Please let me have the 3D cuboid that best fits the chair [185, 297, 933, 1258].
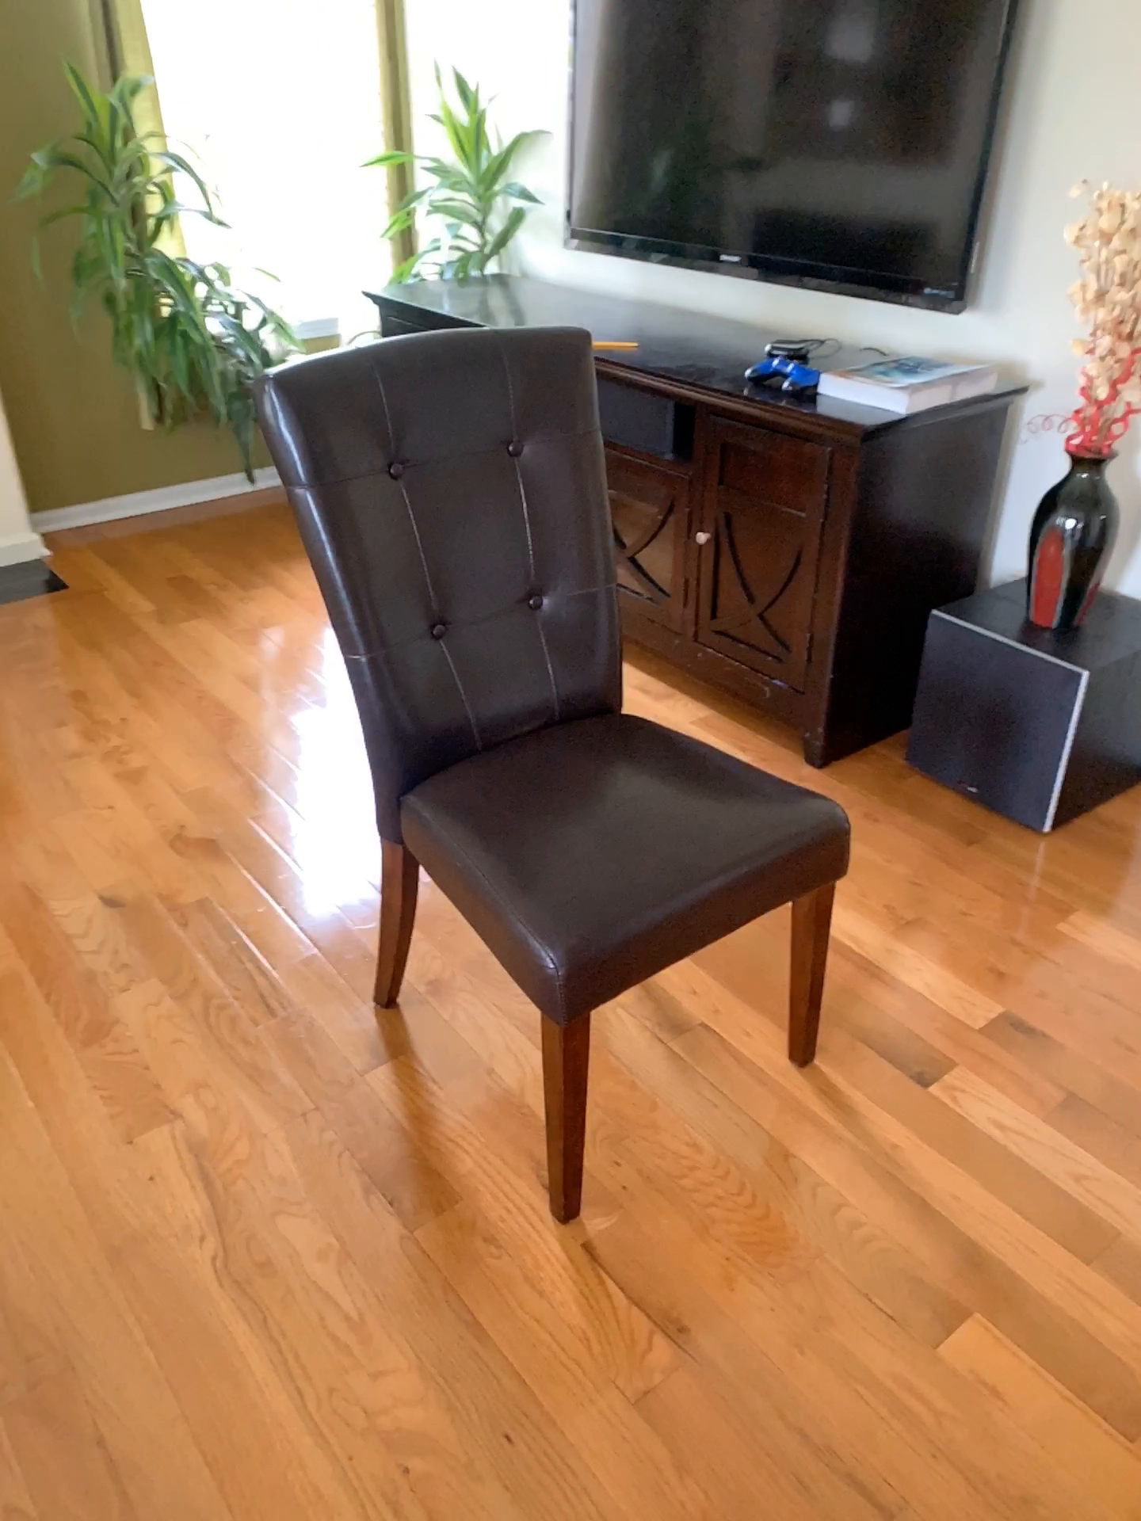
[{"bbox_3d":[-0.047,-0.037,1.588,0.539,0.976,0.724,-21,37,-32],"label":"chair"}]
